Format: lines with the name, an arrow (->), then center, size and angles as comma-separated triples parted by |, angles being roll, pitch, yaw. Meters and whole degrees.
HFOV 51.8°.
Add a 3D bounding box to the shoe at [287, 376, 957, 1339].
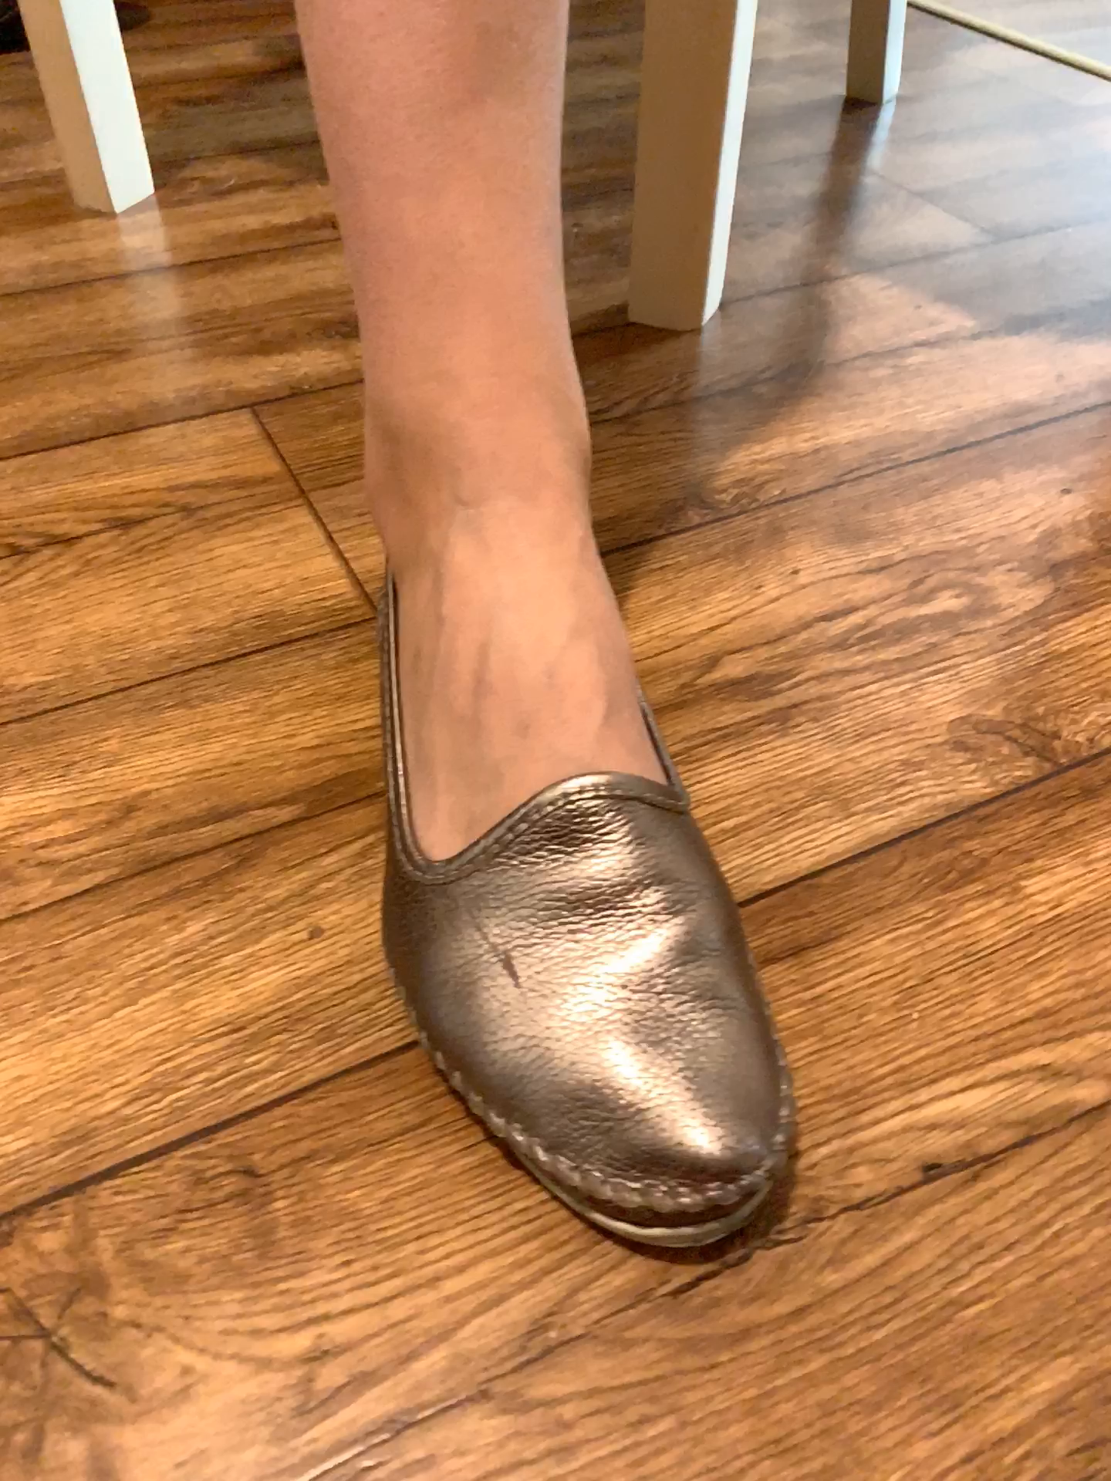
shoe -> -0.002, 0.011, 0.296 | 0.095, 0.070, 0.231 | -11, 55, -10
